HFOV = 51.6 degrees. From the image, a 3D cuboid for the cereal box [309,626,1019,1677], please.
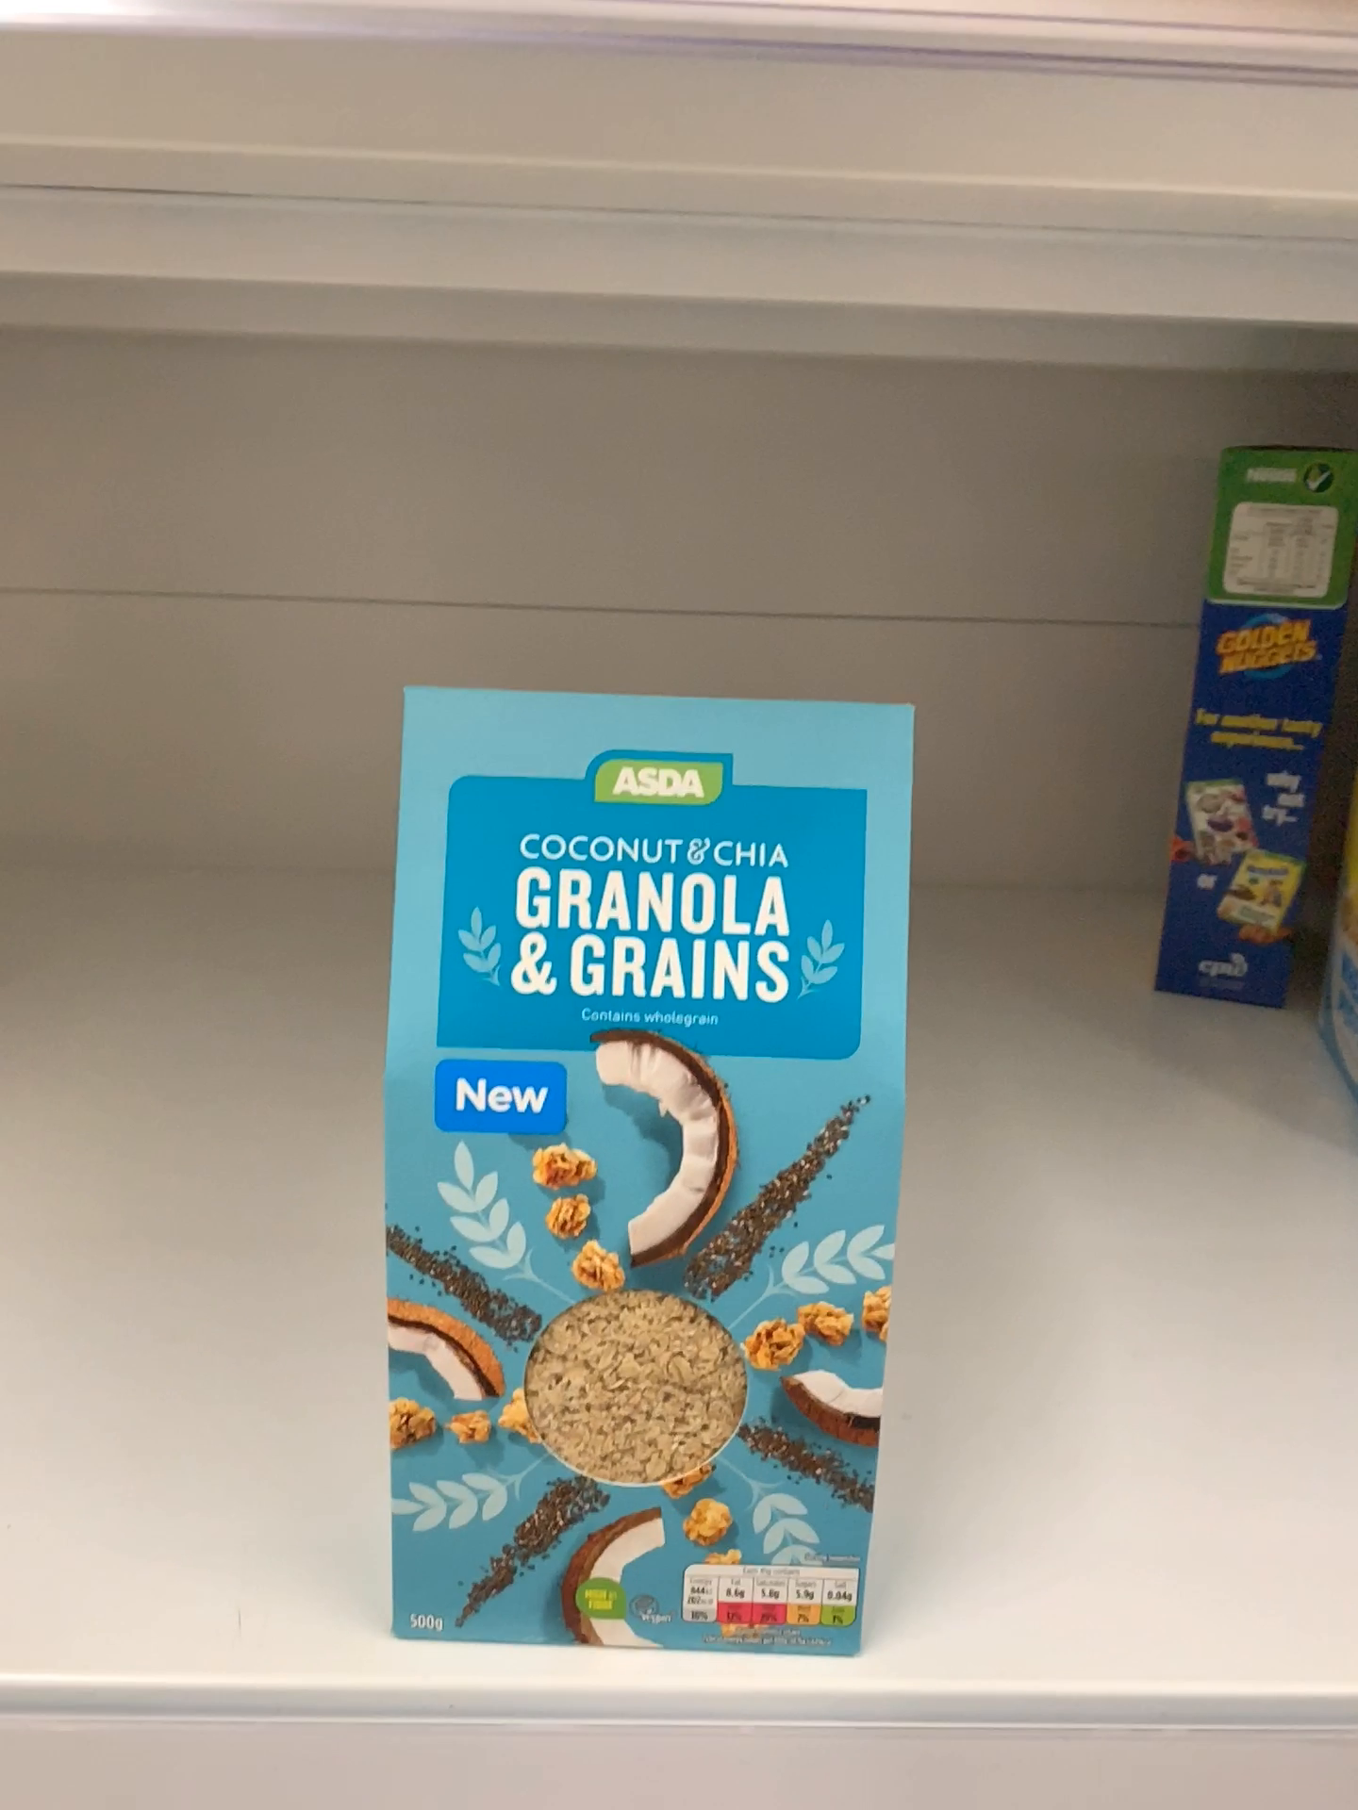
[{"bbox_3d":[-0.006,0.059,0.343,0.140,0.239,0.070,2,16,1],"label":"cereal box"}]
